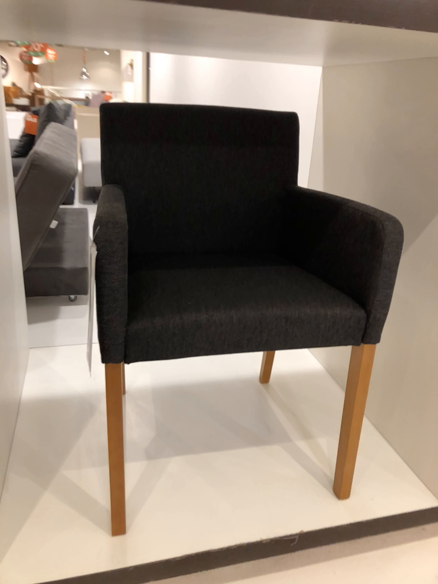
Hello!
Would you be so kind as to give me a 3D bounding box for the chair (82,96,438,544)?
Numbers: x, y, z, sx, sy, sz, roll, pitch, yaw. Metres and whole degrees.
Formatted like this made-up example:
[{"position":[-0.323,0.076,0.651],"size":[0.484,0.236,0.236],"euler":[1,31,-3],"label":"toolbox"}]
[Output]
[{"position":[-0.009,0.001,1.113],"size":[0.560,0.795,0.563],"euler":[-2,23,-16],"label":"chair"}]
